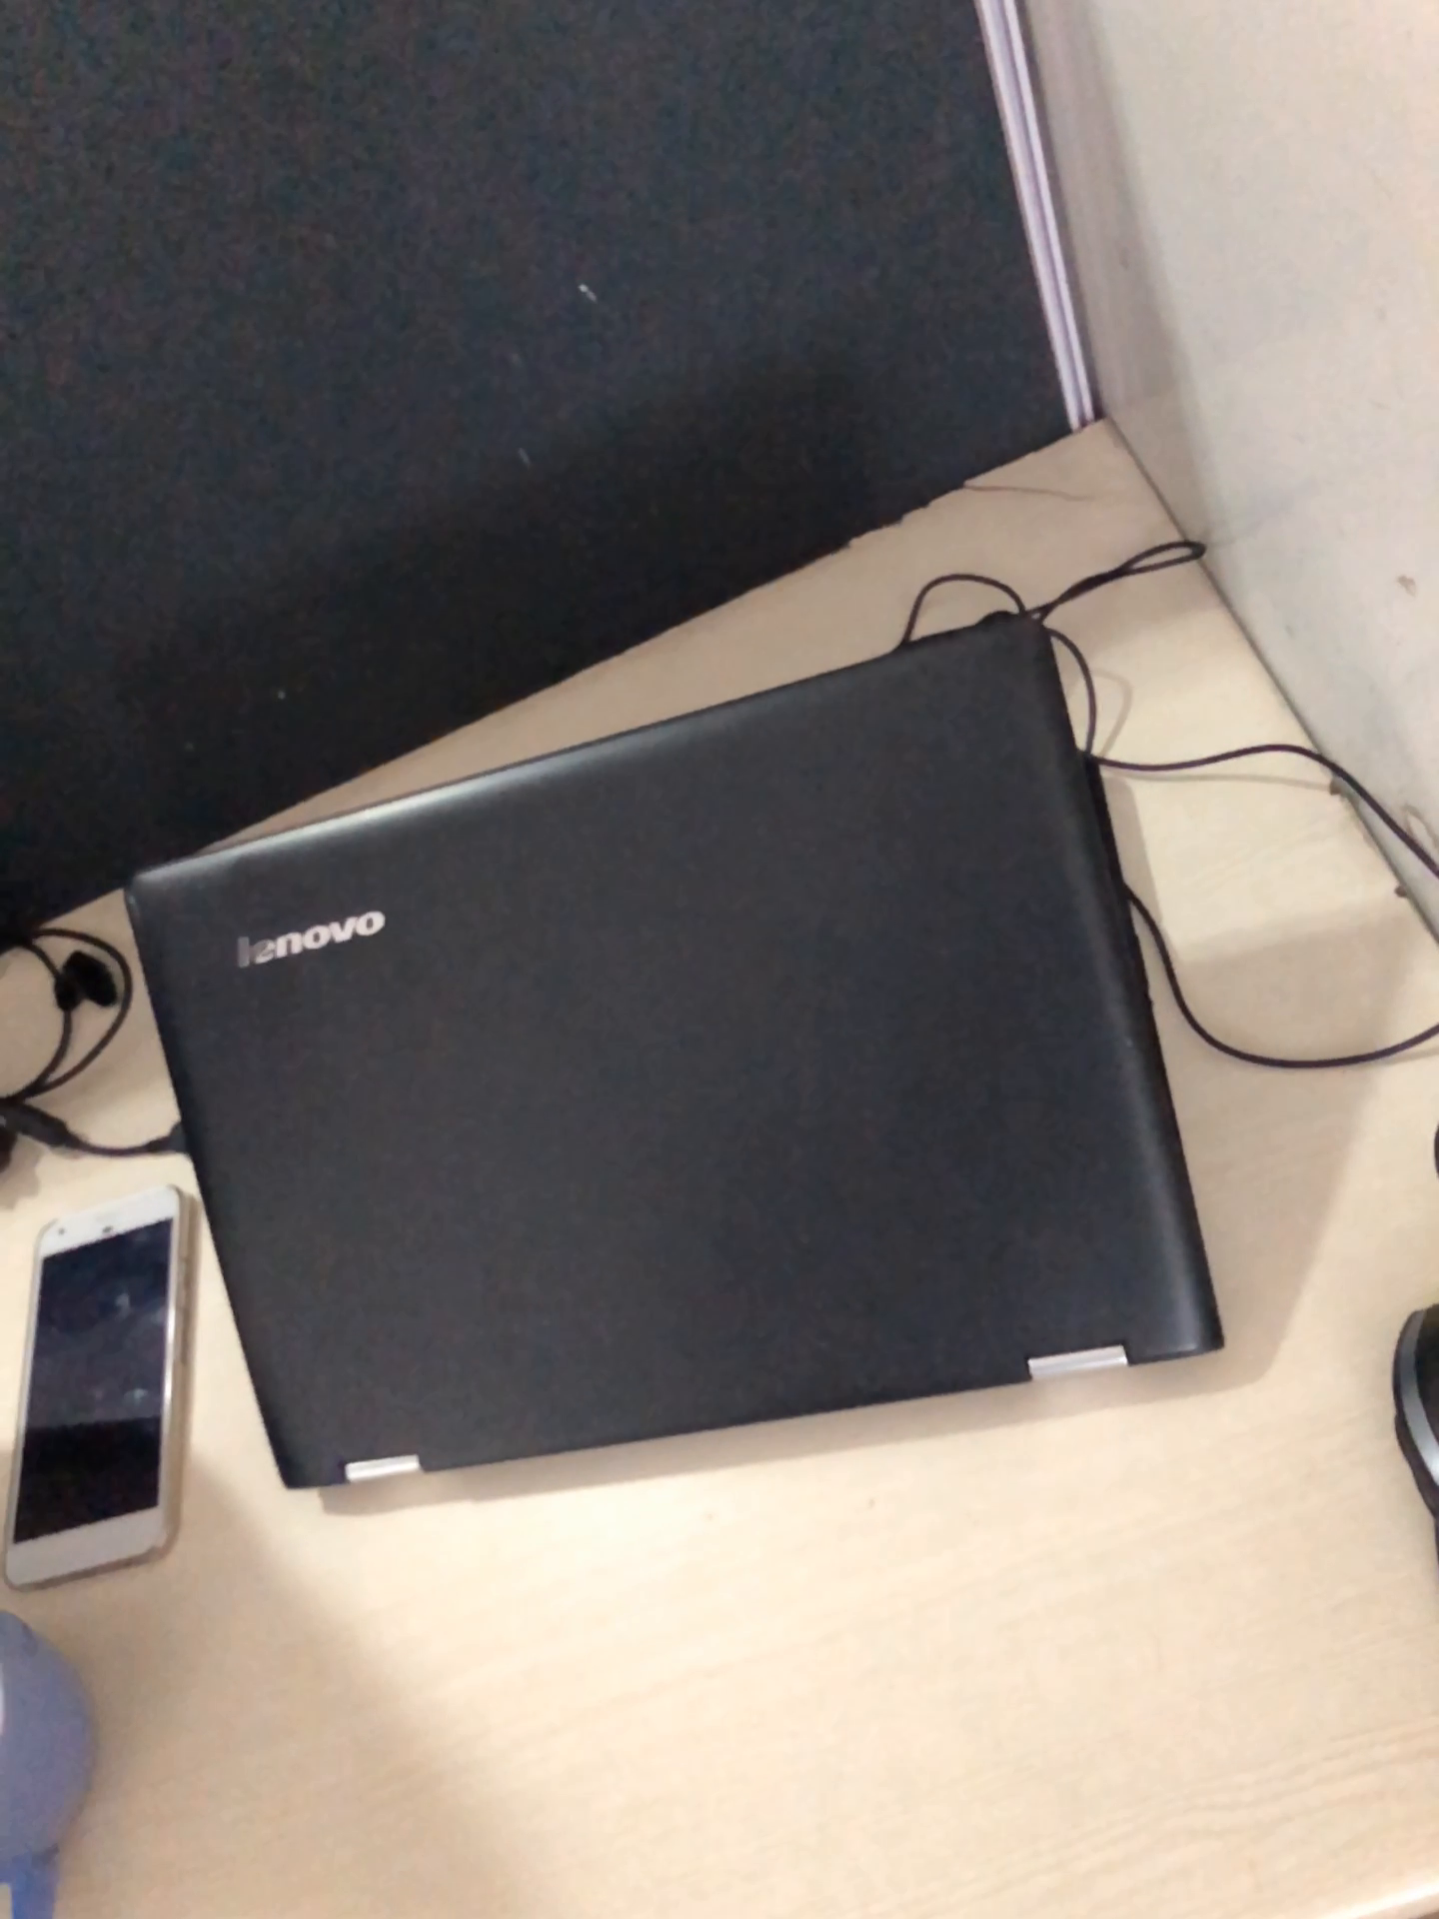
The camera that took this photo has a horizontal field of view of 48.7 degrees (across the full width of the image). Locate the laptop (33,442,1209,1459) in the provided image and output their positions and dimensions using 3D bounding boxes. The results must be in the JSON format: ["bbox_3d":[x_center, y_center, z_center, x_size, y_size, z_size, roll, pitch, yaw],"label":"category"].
[{"bbox_3d":[-0.036,0.018,0.516,0.324,0.142,0.205,-13,63,17],"label":"laptop"}]
